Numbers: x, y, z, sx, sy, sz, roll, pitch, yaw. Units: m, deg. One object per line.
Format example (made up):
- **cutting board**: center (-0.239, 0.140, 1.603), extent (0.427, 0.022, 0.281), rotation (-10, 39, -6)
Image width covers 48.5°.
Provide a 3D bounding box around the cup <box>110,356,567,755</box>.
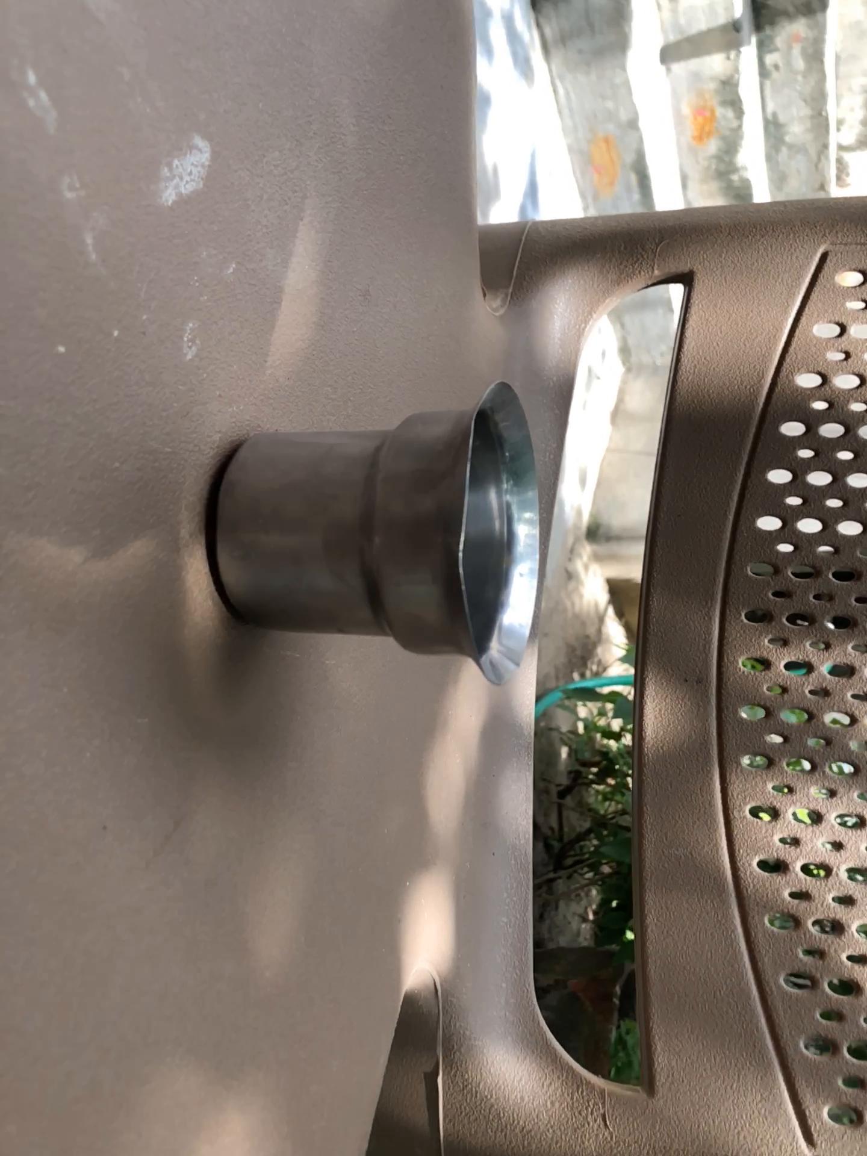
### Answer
- **cup**: center (-0.015, -0.007, 0.224), extent (0.070, 0.069, 0.060), rotation (-58, 141, -51)
